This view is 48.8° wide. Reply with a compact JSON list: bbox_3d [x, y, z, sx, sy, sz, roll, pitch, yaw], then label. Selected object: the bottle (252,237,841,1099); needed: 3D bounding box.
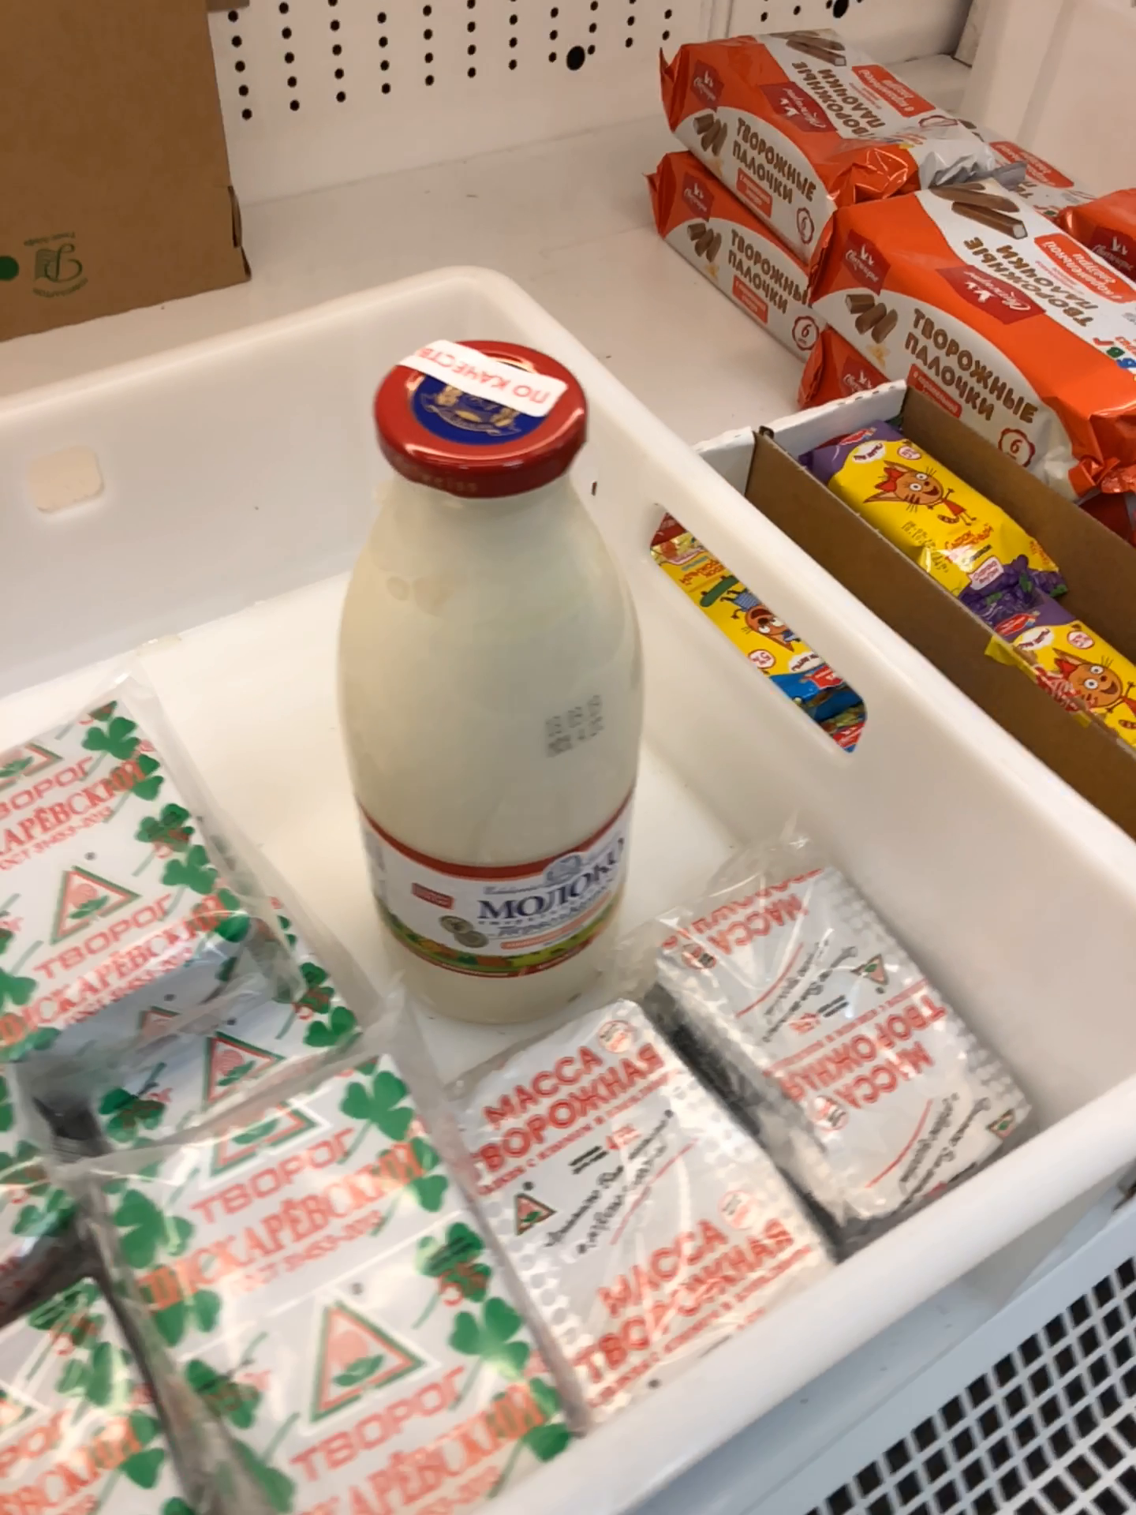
[{"bbox_3d":[-0.013,-0.011,0.338,0.090,0.209,0.090,2,49,-2],"label":"bottle"}]
